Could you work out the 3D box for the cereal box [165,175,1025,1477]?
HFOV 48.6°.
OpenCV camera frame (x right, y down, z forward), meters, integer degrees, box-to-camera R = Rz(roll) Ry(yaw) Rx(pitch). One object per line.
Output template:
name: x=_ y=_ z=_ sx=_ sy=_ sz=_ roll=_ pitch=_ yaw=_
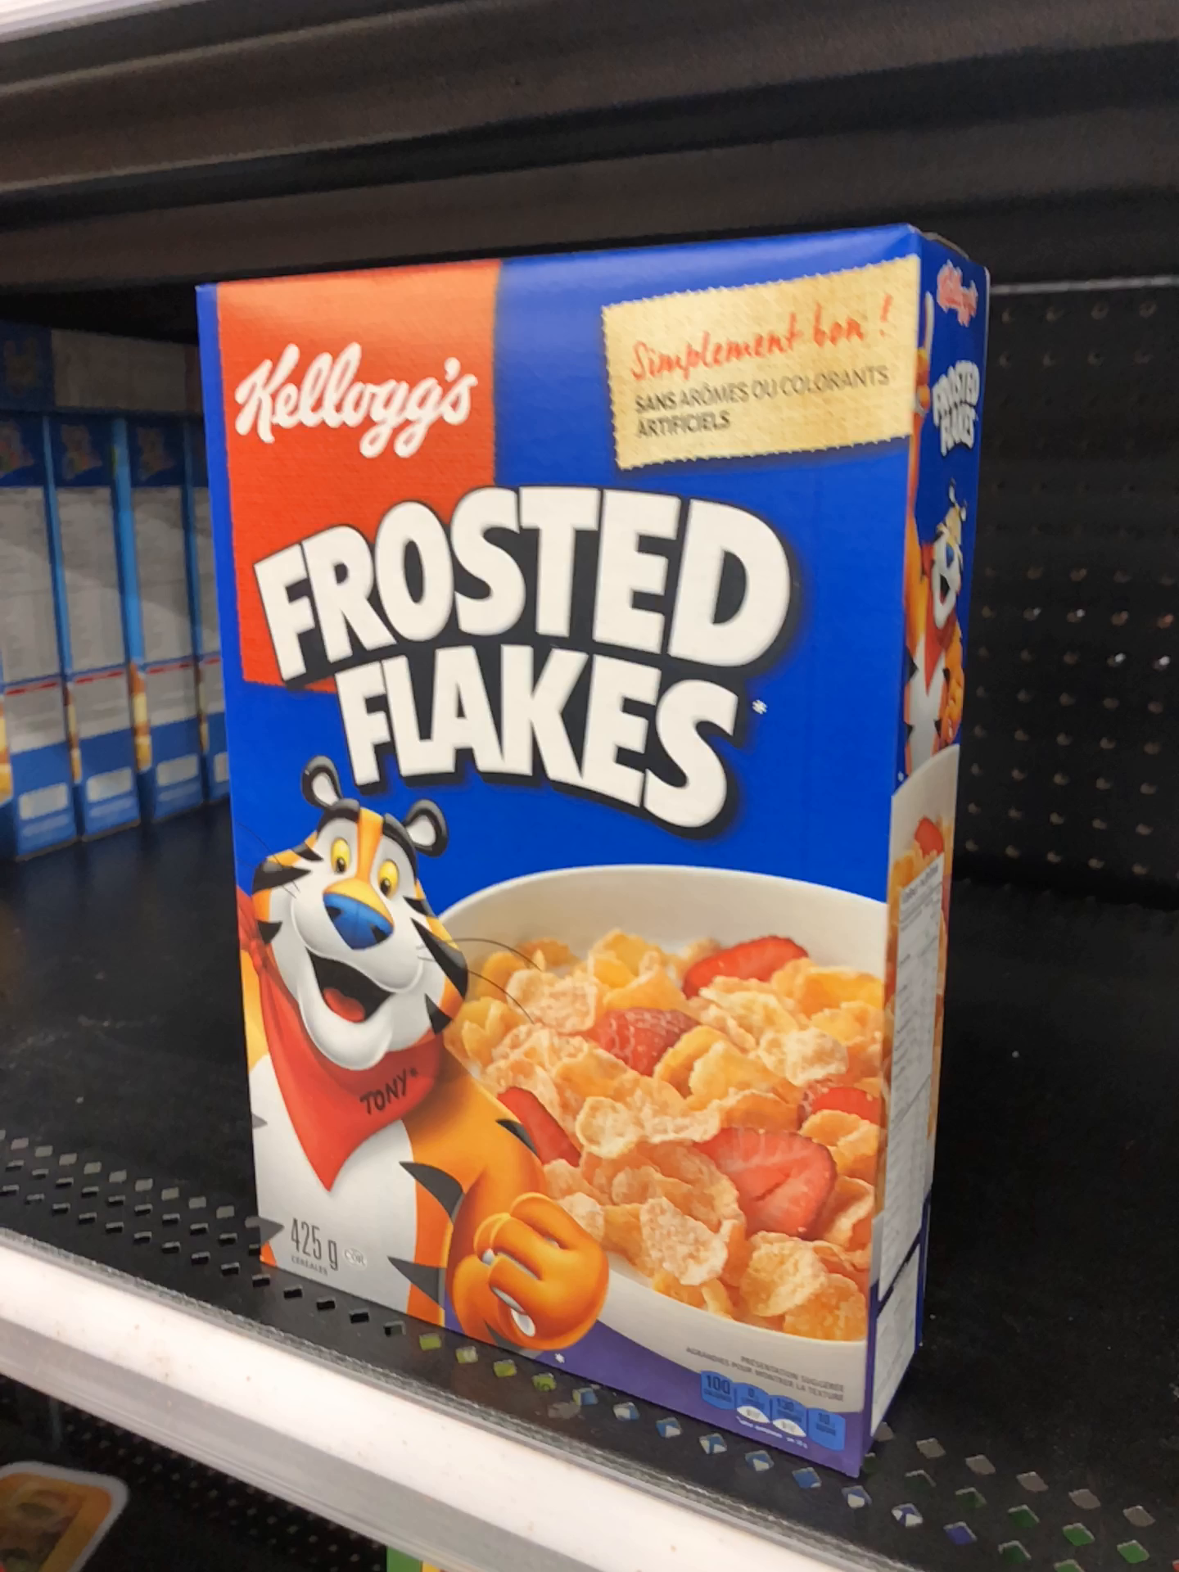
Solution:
cereal box: x=-0.007 y=0.006 z=0.355 sx=0.210 sy=0.289 sz=0.060 roll=7 pitch=14 yaw=28
